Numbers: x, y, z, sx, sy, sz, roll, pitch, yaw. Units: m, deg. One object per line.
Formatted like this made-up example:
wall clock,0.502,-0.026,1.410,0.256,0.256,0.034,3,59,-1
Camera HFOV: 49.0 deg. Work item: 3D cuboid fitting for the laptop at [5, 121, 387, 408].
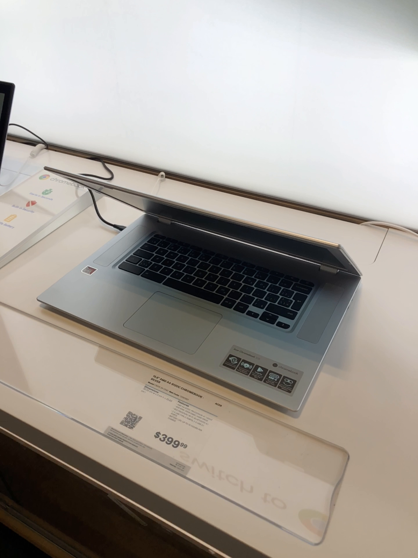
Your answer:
laptop,-0.009,-0.054,0.588,0.368,0.166,0.255,19,42,24
